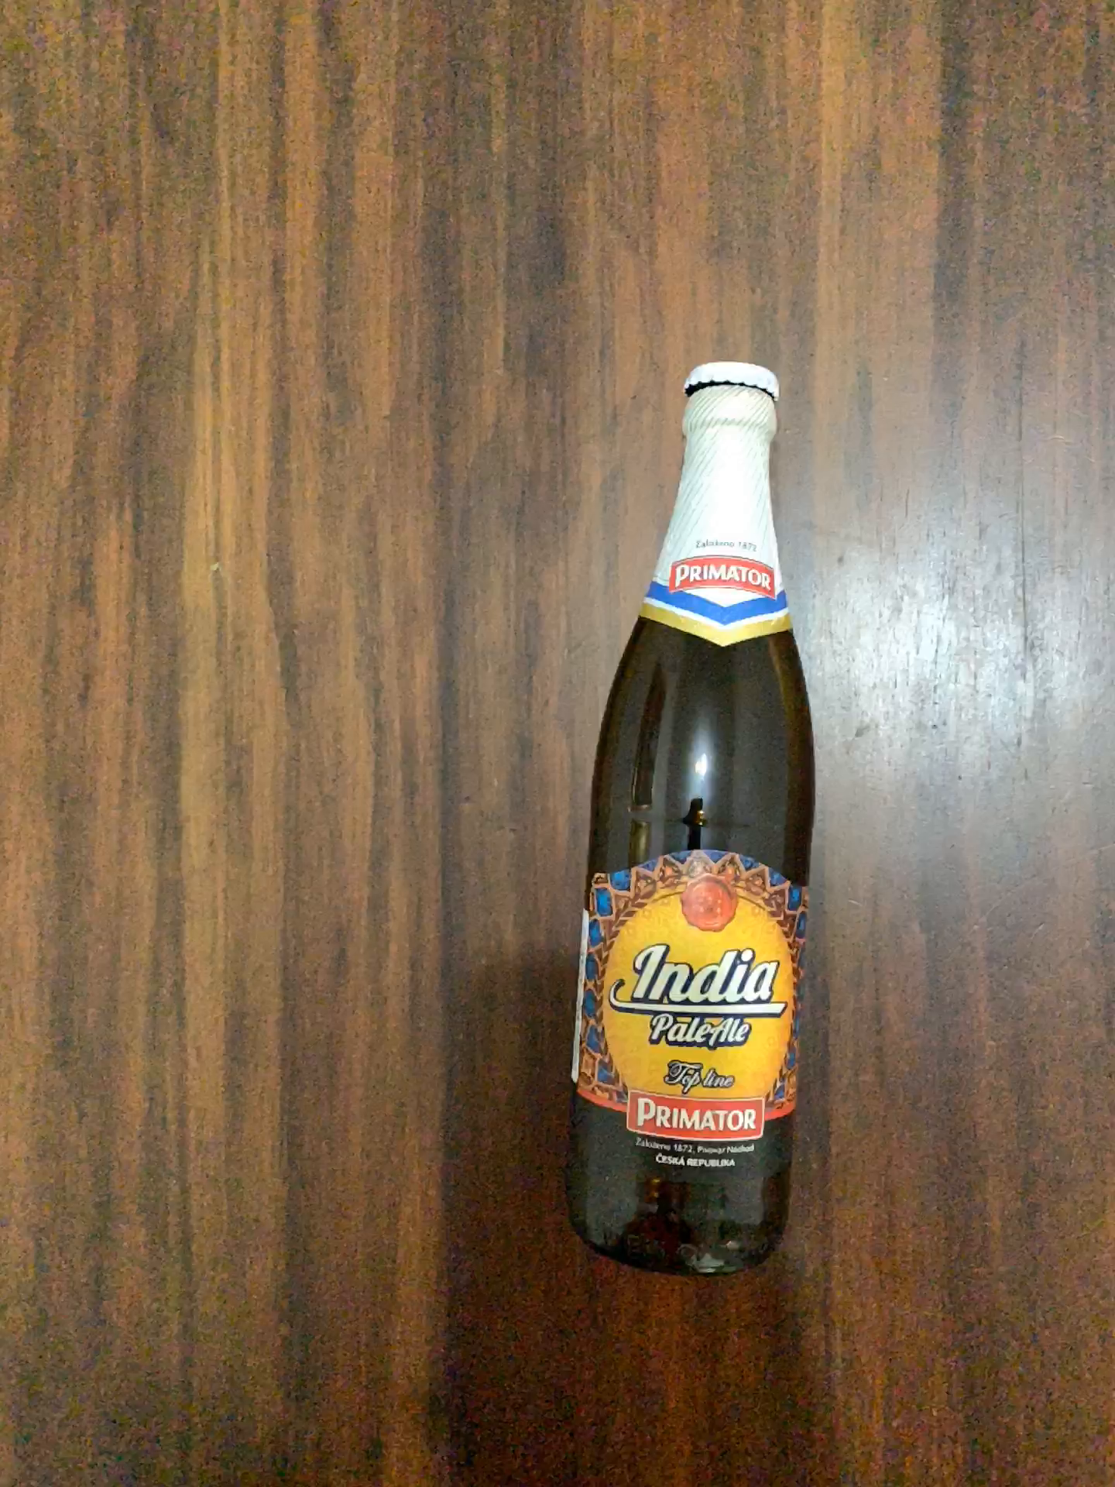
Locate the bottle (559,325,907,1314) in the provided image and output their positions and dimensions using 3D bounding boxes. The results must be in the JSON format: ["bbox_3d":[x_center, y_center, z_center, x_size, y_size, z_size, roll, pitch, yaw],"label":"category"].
[{"bbox_3d":[0.049,0.019,0.337,0.080,0.060,0.260,3,88,3],"label":"bottle"}]
